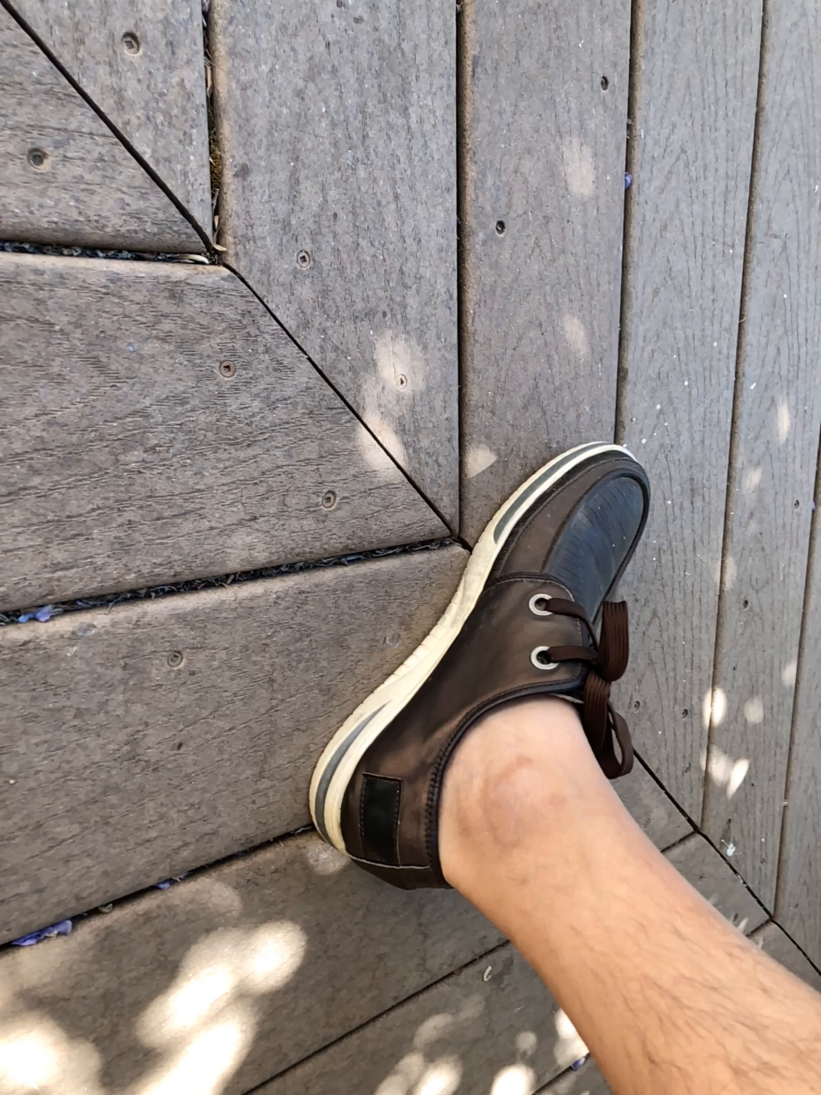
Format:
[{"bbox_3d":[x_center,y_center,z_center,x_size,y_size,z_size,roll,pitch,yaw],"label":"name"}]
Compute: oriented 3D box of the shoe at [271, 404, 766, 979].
[{"bbox_3d":[0.072,0.060,0.493,0.289,0.096,0.107,-52,127,-22],"label":"shoe"}]
